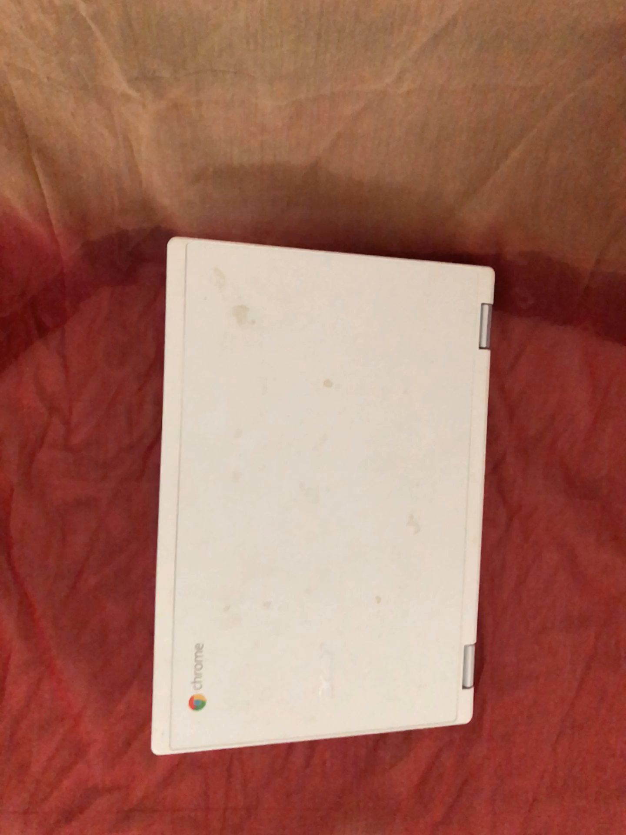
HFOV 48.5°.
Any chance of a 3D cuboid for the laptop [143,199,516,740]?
[{"bbox_3d":[0.009,0.030,0.412,0.189,0.056,0.288,4,91,-2],"label":"laptop"}]
